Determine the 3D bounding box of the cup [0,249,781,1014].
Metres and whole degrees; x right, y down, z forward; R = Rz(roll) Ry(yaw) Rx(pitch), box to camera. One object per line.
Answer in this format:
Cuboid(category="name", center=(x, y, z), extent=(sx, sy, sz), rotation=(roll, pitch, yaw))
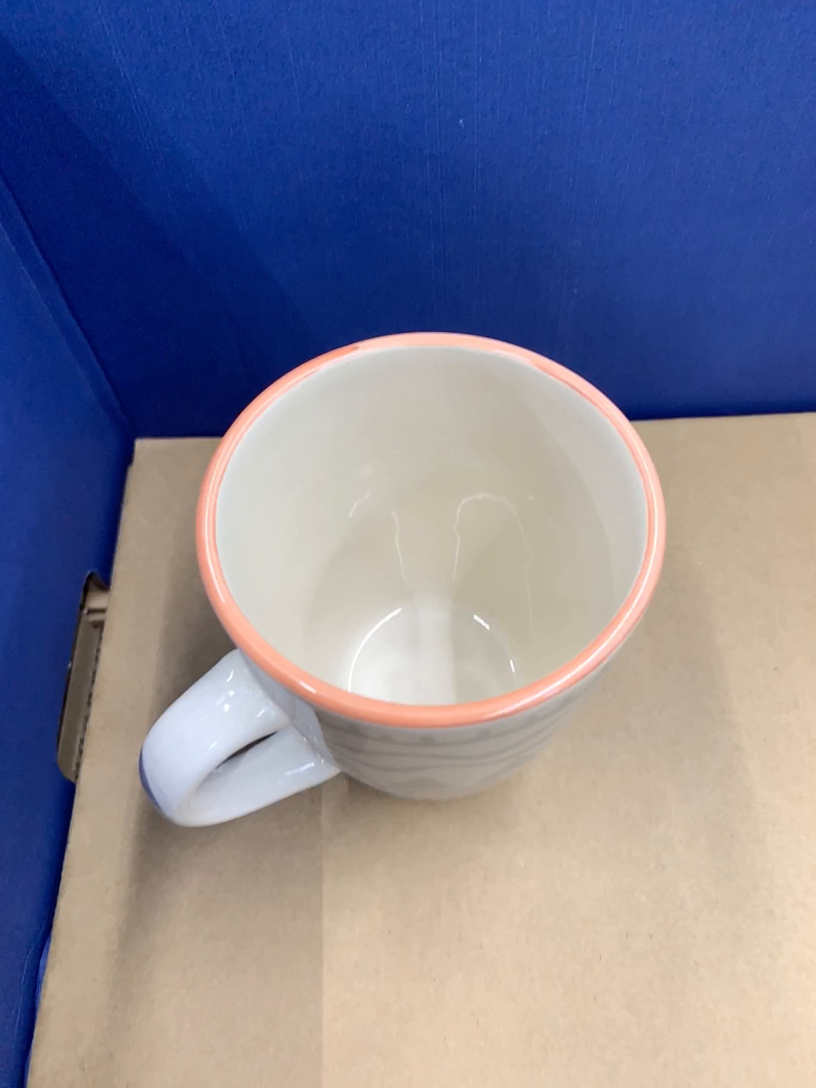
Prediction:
Cuboid(category="cup", center=(-0.004, 0.017, 0.194), extent=(0.119, 0.082, 0.097), rotation=(-40, 63, -20))
